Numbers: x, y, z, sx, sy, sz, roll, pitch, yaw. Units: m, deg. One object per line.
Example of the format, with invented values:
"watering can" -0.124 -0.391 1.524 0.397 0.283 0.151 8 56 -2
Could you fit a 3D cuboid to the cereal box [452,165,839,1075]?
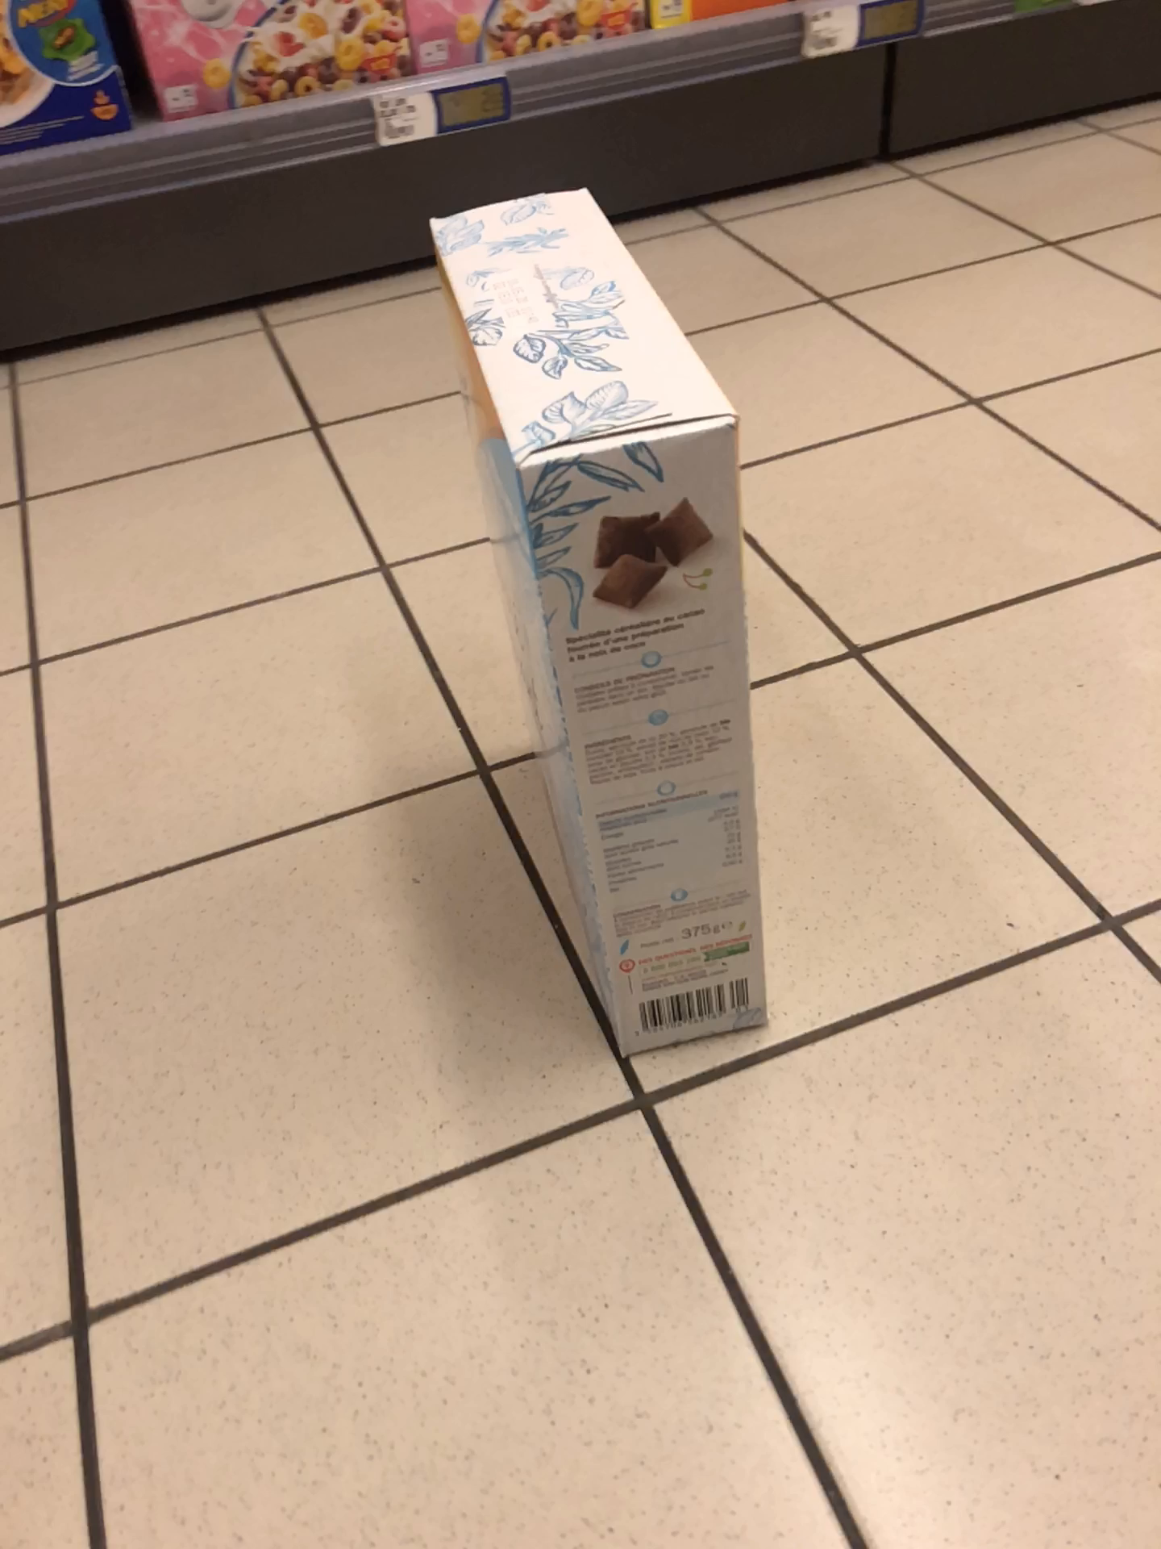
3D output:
"cereal box" 0.020 -0.053 0.450 0.070 0.239 0.201 -11 42 -4
